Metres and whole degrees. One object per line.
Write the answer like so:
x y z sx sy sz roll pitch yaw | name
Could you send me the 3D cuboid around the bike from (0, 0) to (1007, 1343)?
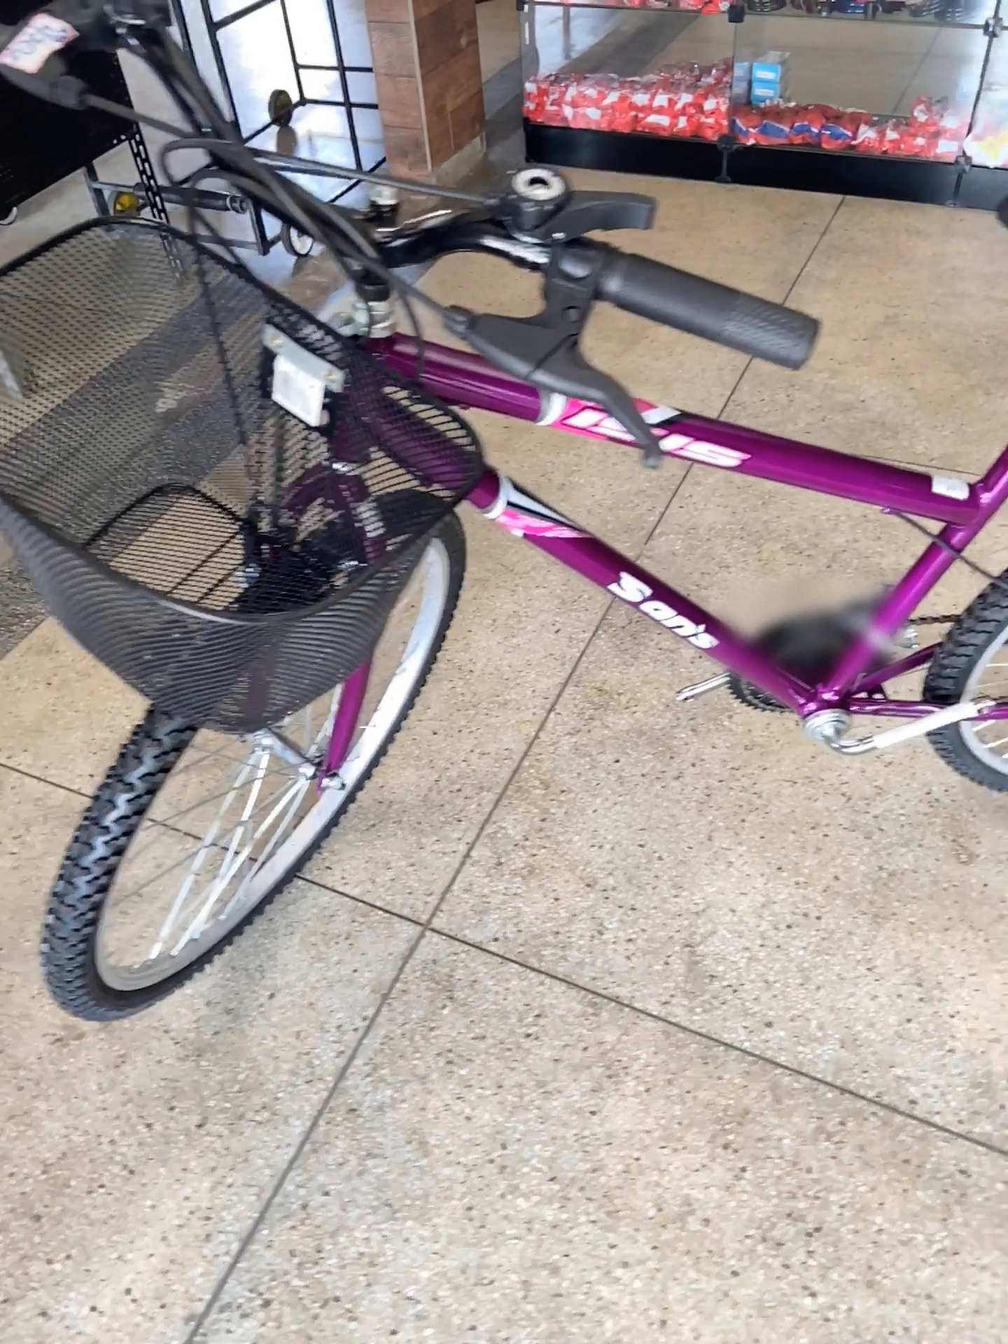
0.342 -0.071 0.860 1.522 1.034 0.576 -12 45 -8 | bike
